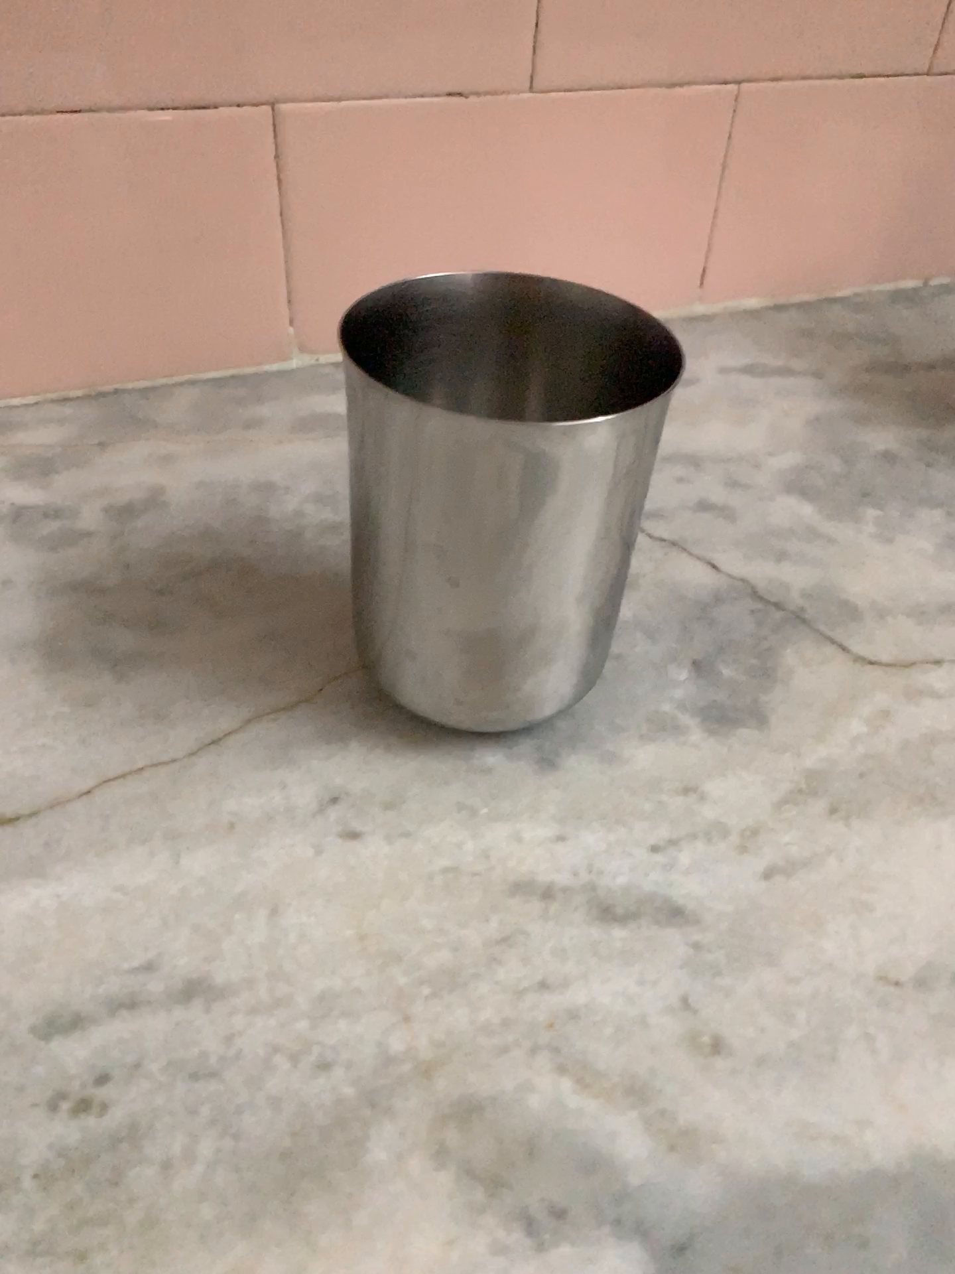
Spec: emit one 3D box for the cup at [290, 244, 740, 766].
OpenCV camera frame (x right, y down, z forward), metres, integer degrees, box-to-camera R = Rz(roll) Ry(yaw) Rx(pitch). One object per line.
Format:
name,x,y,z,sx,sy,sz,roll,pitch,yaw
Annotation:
cup,0.000,-0.033,0.234,0.080,0.090,0.080,2,41,-2
